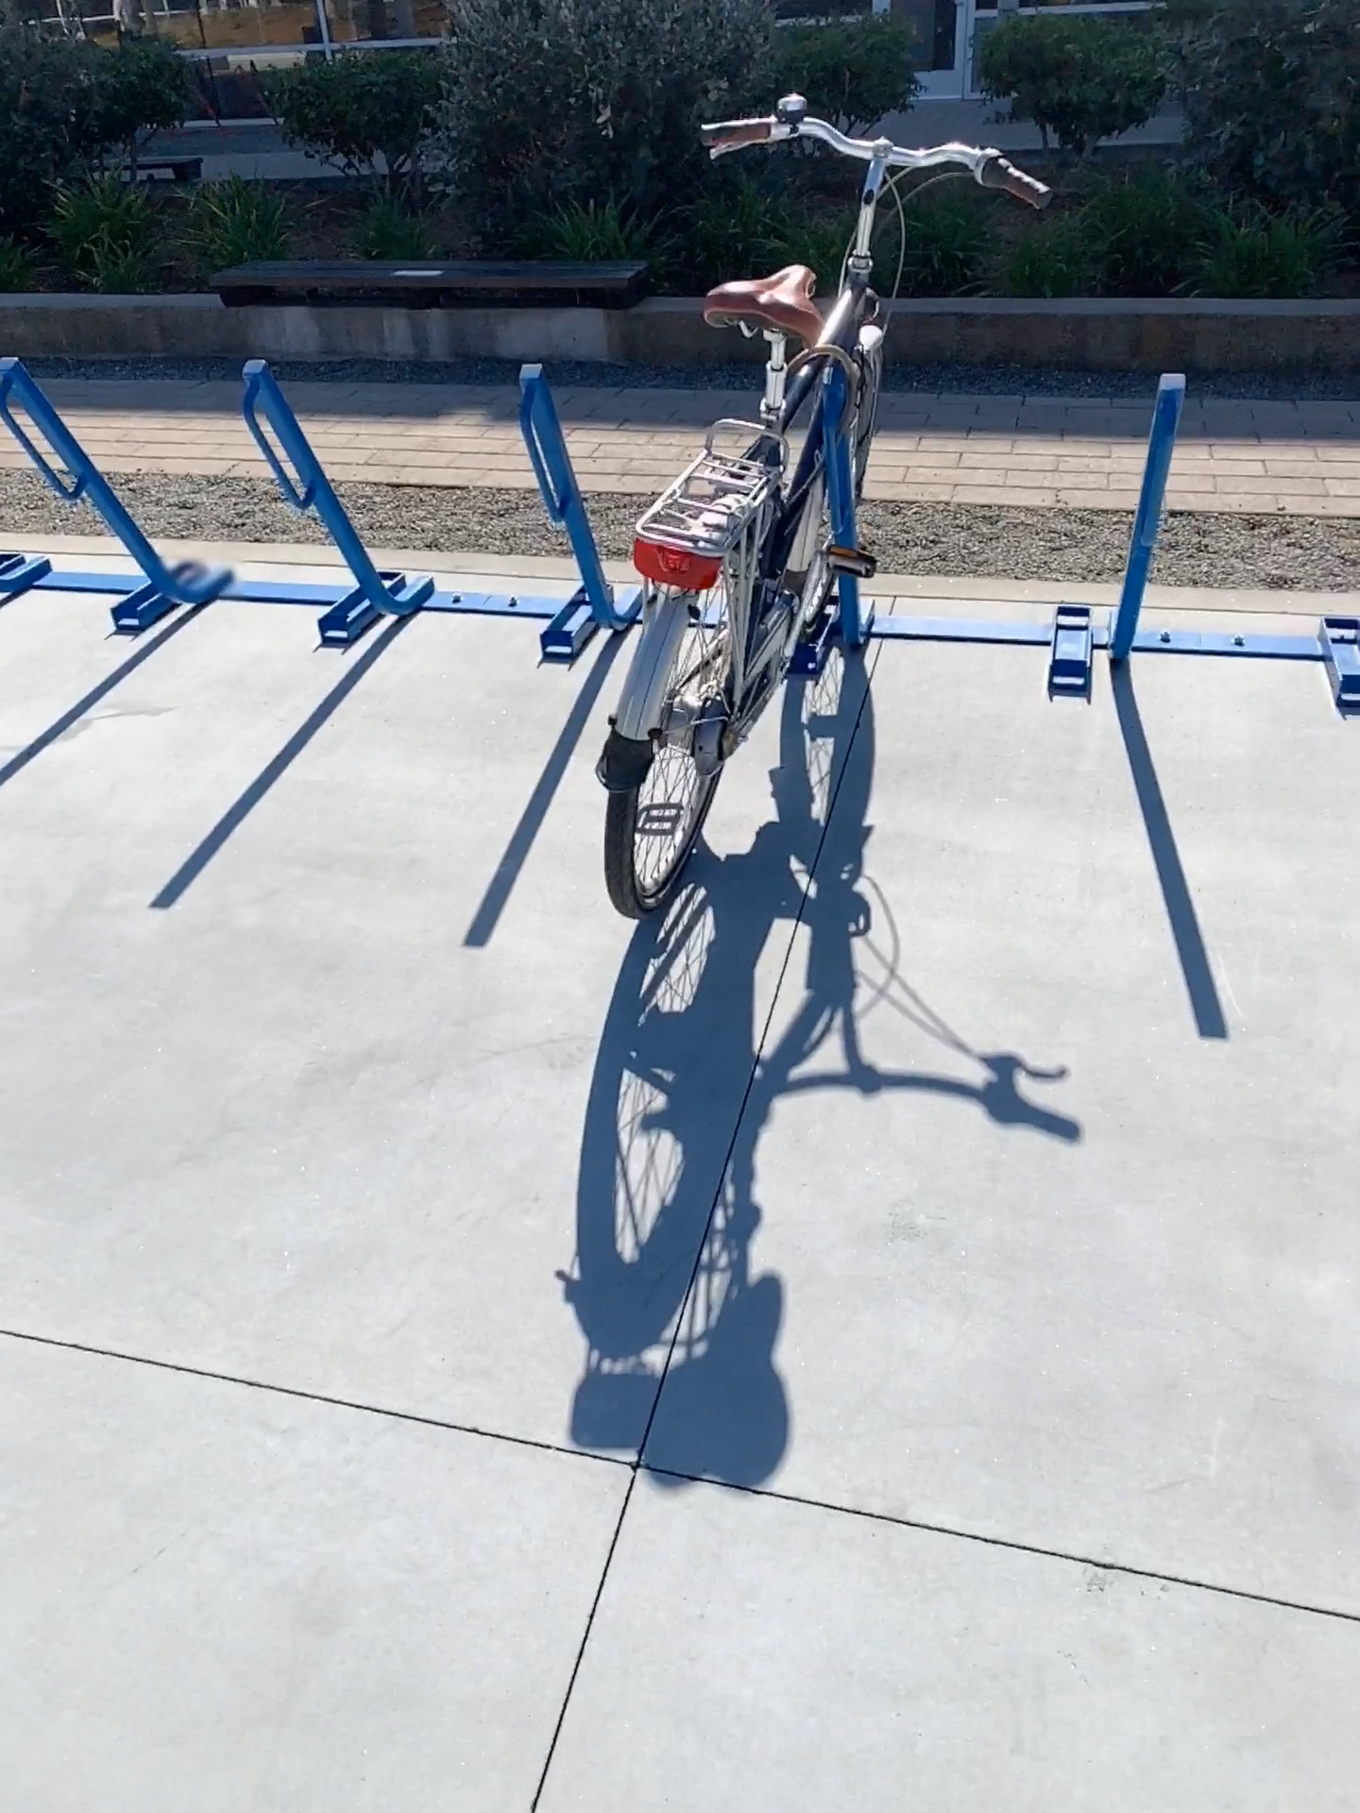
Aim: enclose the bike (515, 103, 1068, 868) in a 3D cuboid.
[{"bbox_3d":[0.256,-0.774,2.351,0.591,0.915,1.066,8,36,17],"label":"bike"}]
